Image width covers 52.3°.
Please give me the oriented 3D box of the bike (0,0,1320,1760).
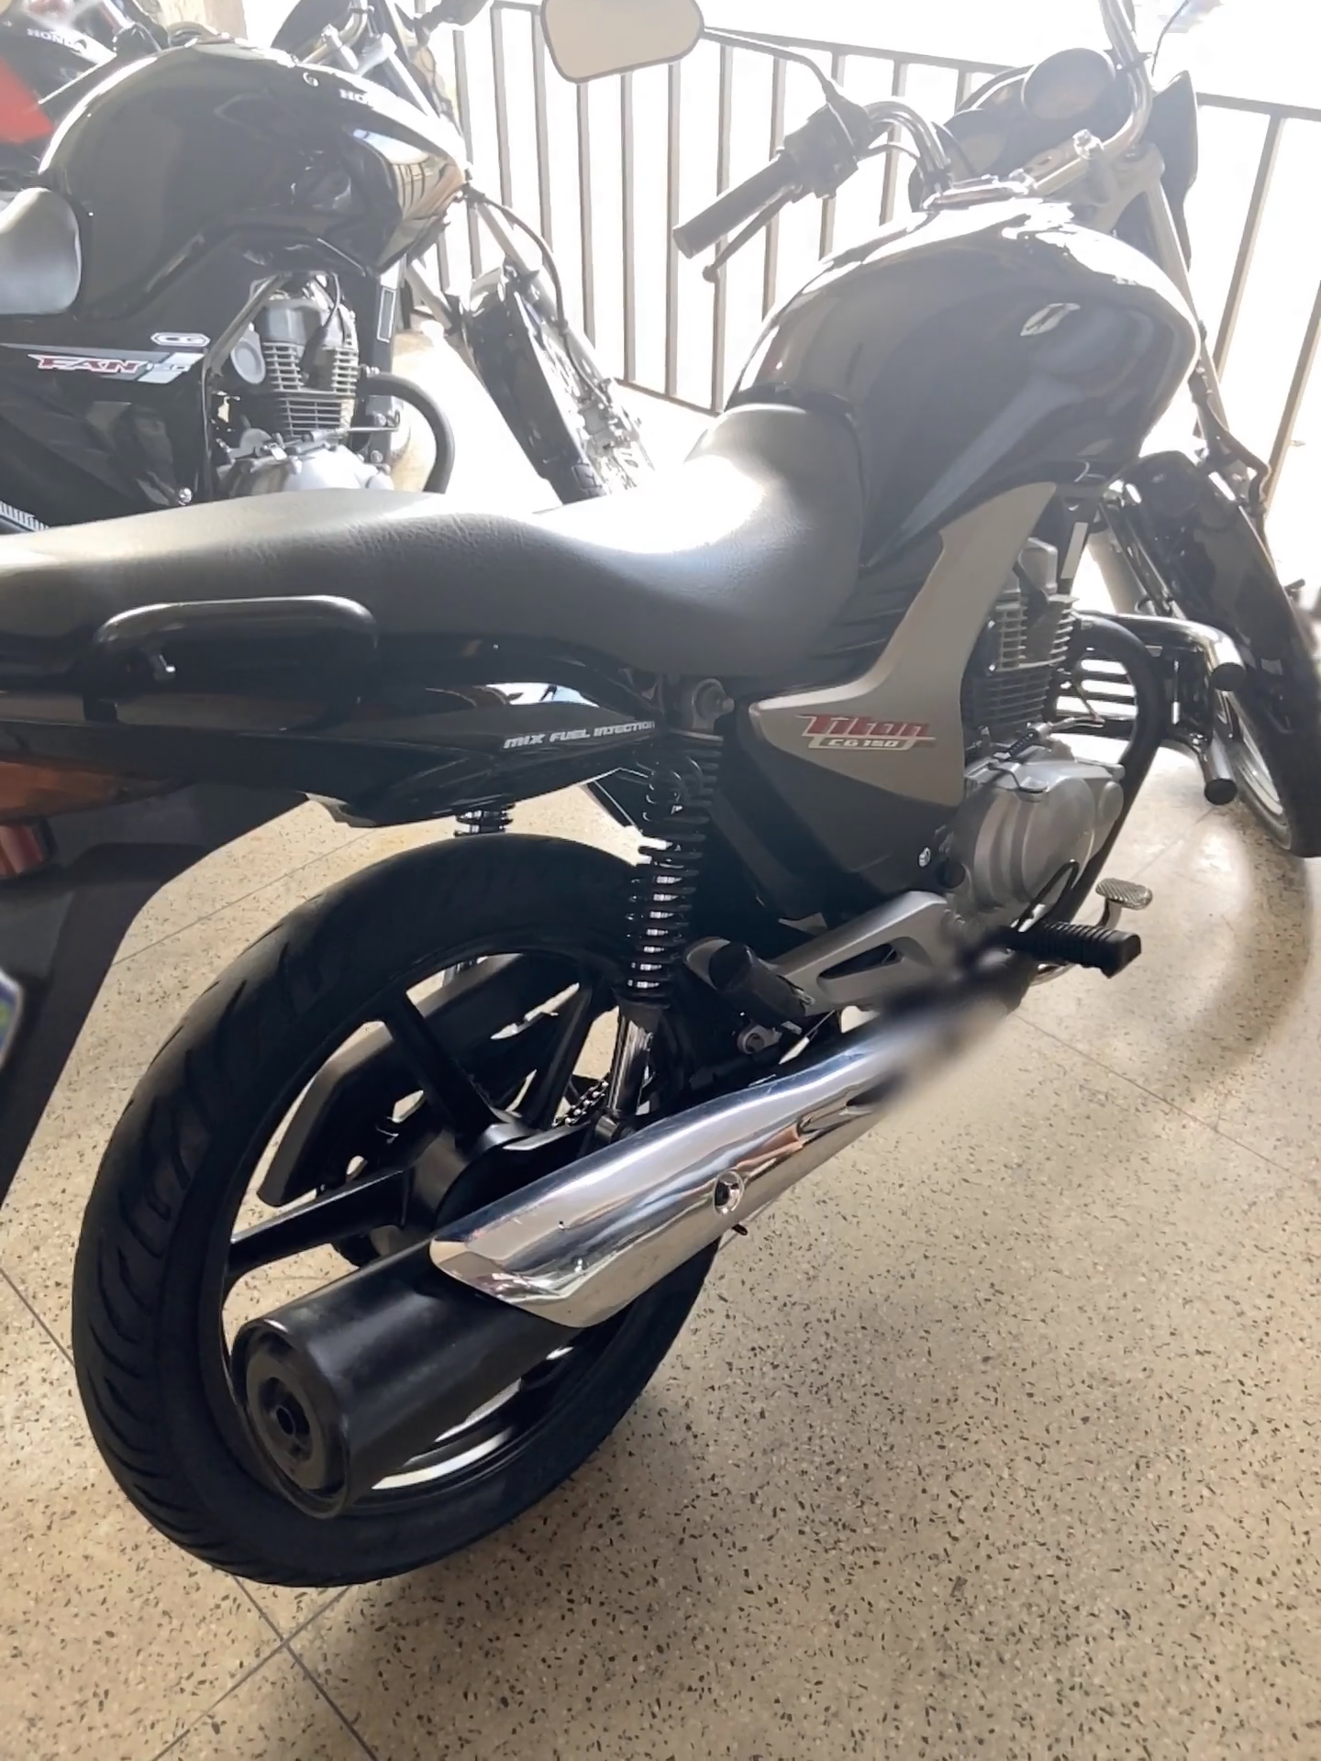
[{"bbox_3d":[0.112,-0.299,1.356,0.774,1.137,1.744,26,42,30],"label":"bike"}]
